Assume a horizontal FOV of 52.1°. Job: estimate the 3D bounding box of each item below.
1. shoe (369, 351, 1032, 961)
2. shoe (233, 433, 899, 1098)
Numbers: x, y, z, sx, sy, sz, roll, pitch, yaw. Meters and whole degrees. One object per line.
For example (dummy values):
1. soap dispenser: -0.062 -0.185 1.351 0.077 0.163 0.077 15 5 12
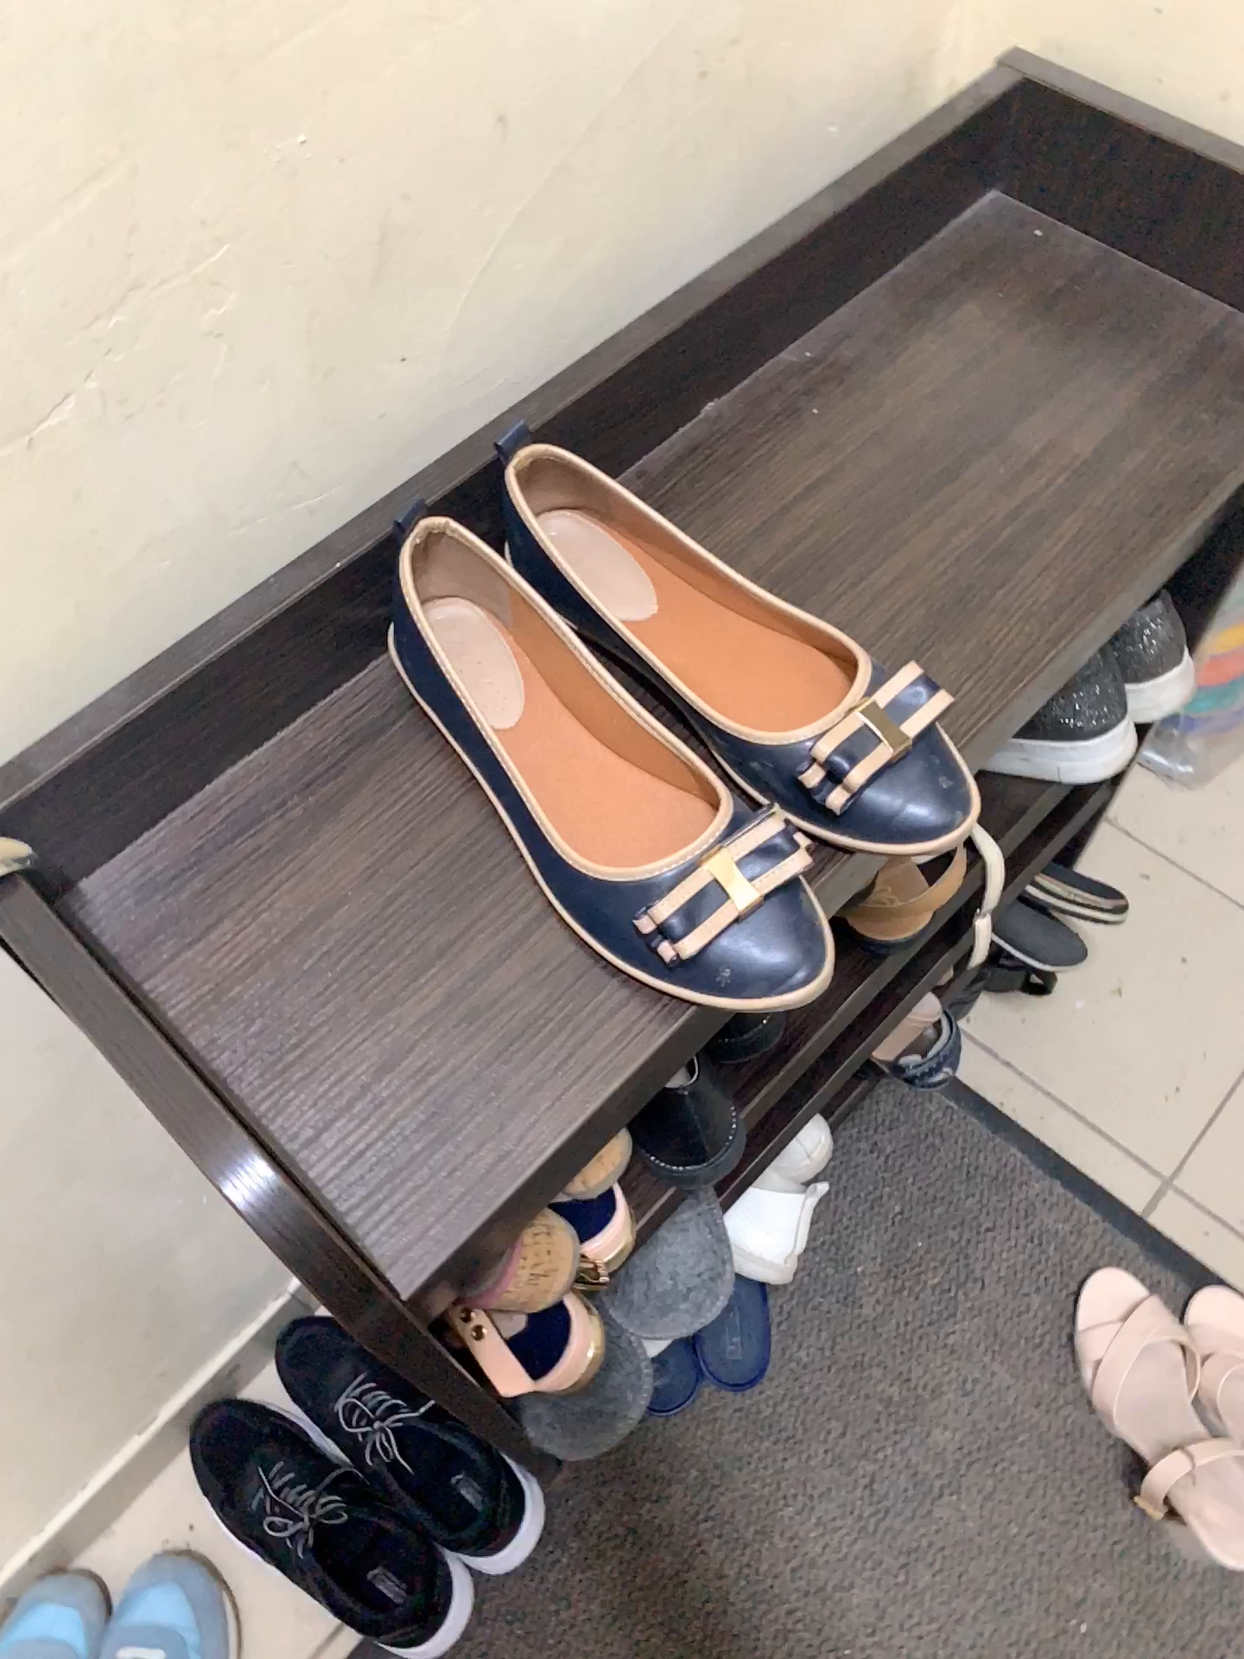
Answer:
1. shoe: 0.027 -0.083 0.565 0.100 0.100 0.281 -43 65 -14
2. shoe: -0.028 -0.034 0.534 0.100 0.100 0.281 -41 65 -13
